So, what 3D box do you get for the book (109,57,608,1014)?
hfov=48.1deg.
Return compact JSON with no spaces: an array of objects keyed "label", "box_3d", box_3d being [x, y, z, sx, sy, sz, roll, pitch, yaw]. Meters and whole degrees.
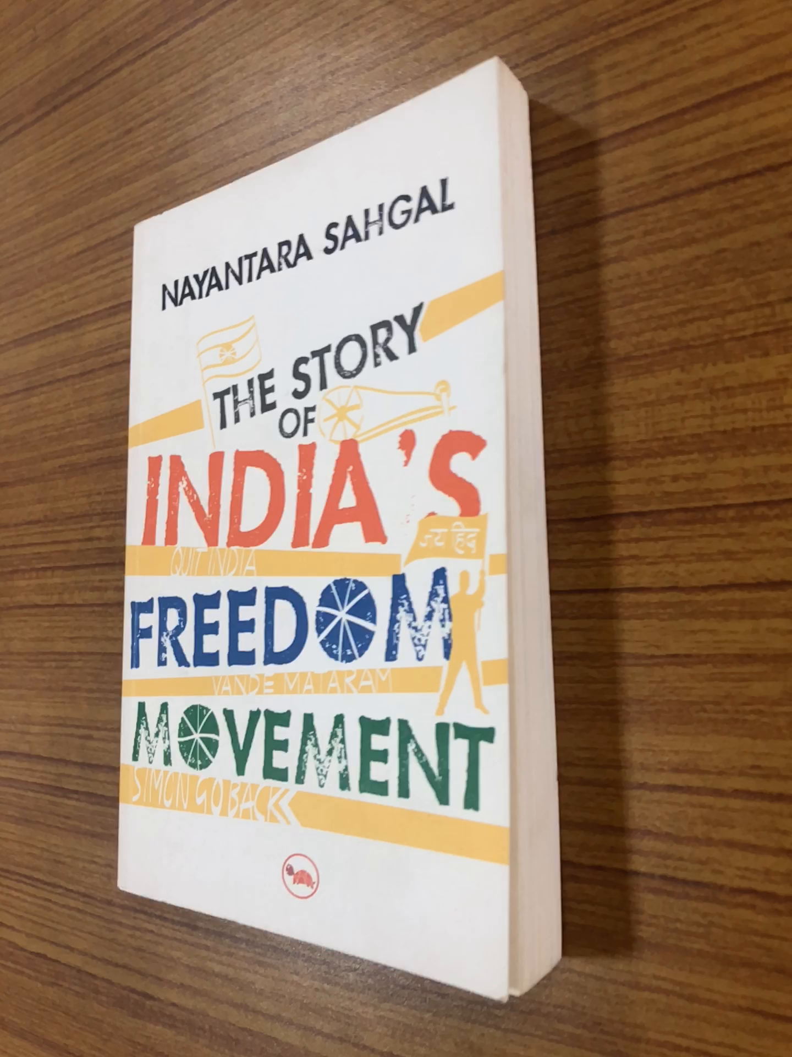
[{"label":"book","box_3d":[-0.018,0.002,0.226,0.131,0.030,0.190,-6,81,36]}]
